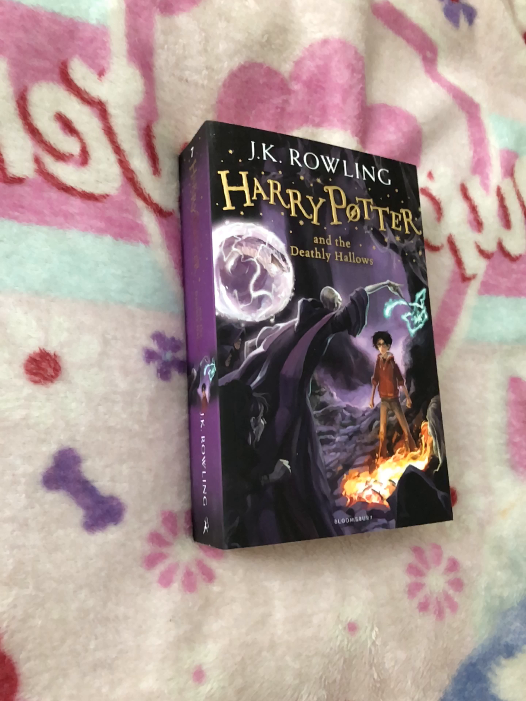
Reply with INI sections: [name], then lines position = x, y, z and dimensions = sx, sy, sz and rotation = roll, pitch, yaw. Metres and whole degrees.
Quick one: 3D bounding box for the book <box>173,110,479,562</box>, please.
[book]
position = 0.027, -0.005, 0.291
dimensions = 0.126, 0.060, 0.187
rotation = 2, 79, -25
